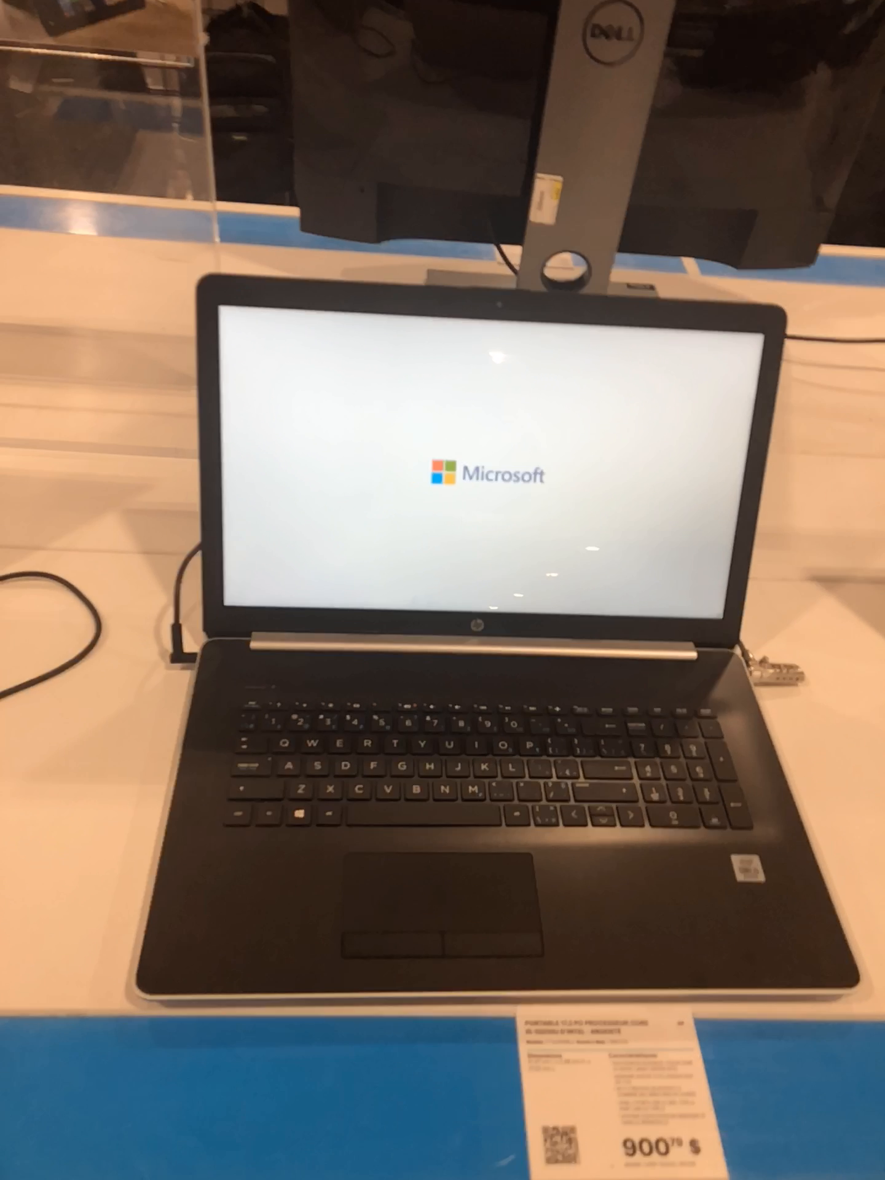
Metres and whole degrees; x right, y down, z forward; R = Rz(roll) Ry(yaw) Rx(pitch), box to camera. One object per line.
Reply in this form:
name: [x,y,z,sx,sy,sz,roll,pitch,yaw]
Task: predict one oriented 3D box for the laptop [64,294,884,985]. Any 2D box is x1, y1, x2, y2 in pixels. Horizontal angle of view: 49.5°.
laptop: [0.037,0.014,0.616,0.411,0.242,0.382,2,40,-5]
